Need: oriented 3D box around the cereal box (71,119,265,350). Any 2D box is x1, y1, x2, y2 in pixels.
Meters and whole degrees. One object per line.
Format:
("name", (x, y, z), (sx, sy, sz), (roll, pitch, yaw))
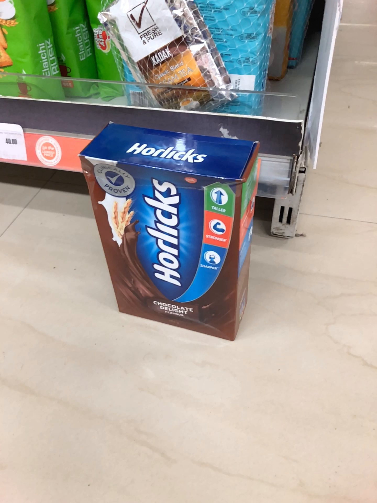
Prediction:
("cereal box", (-0.010, -0.007, 0.399), (0.140, 0.209, 0.060), (12, 46, 16))
